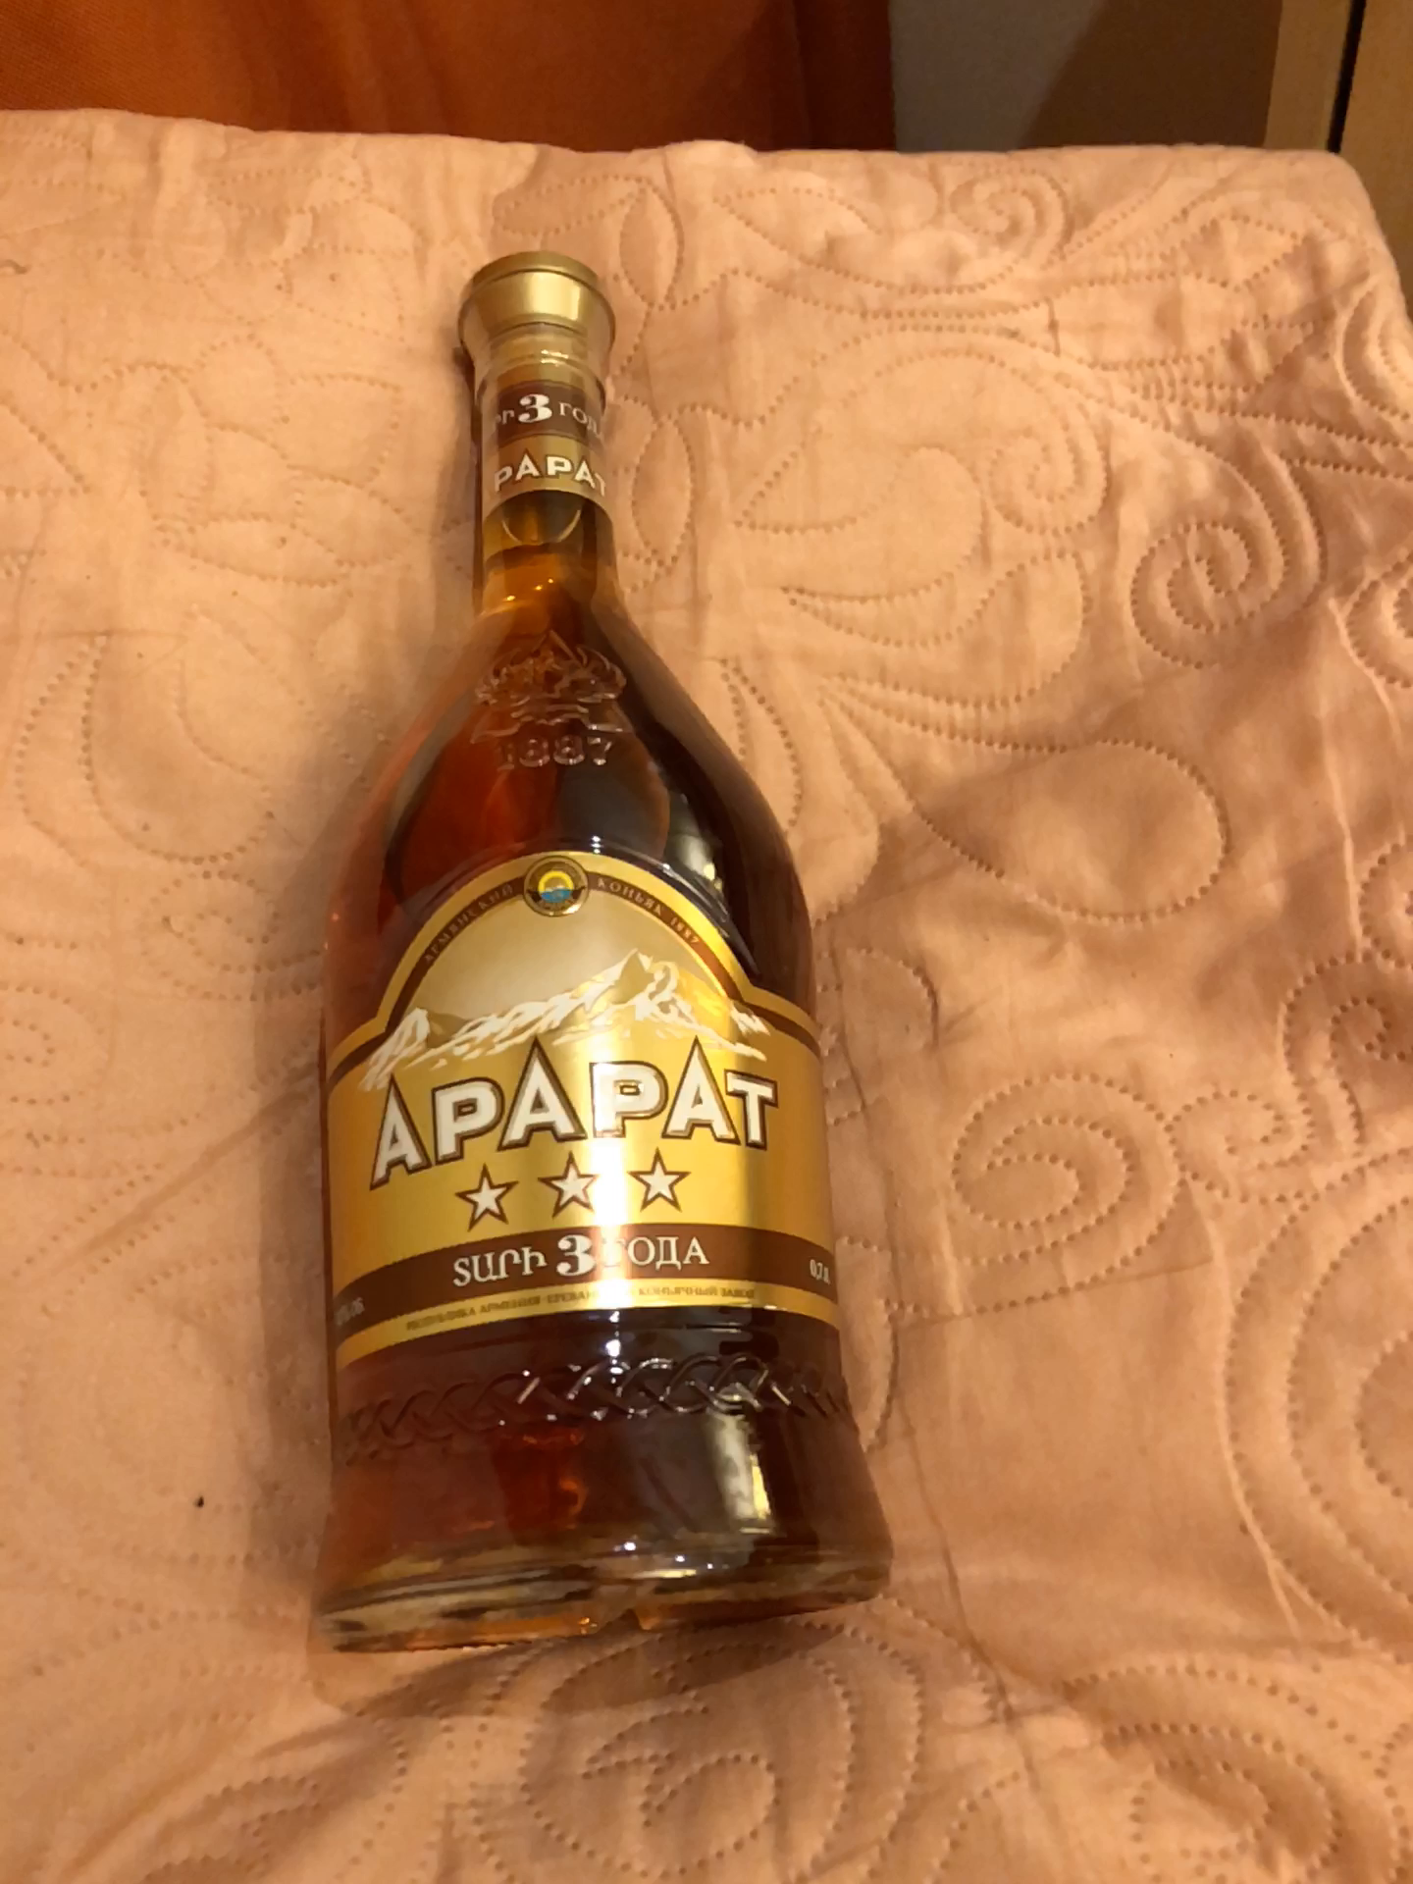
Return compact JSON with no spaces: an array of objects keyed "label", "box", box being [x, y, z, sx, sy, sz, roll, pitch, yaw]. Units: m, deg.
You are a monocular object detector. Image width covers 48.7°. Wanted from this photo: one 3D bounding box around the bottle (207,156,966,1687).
[{"label":"bottle","box":[-0.023,-0.015,0.284,0.090,0.090,0.258,-9,60,3]}]
